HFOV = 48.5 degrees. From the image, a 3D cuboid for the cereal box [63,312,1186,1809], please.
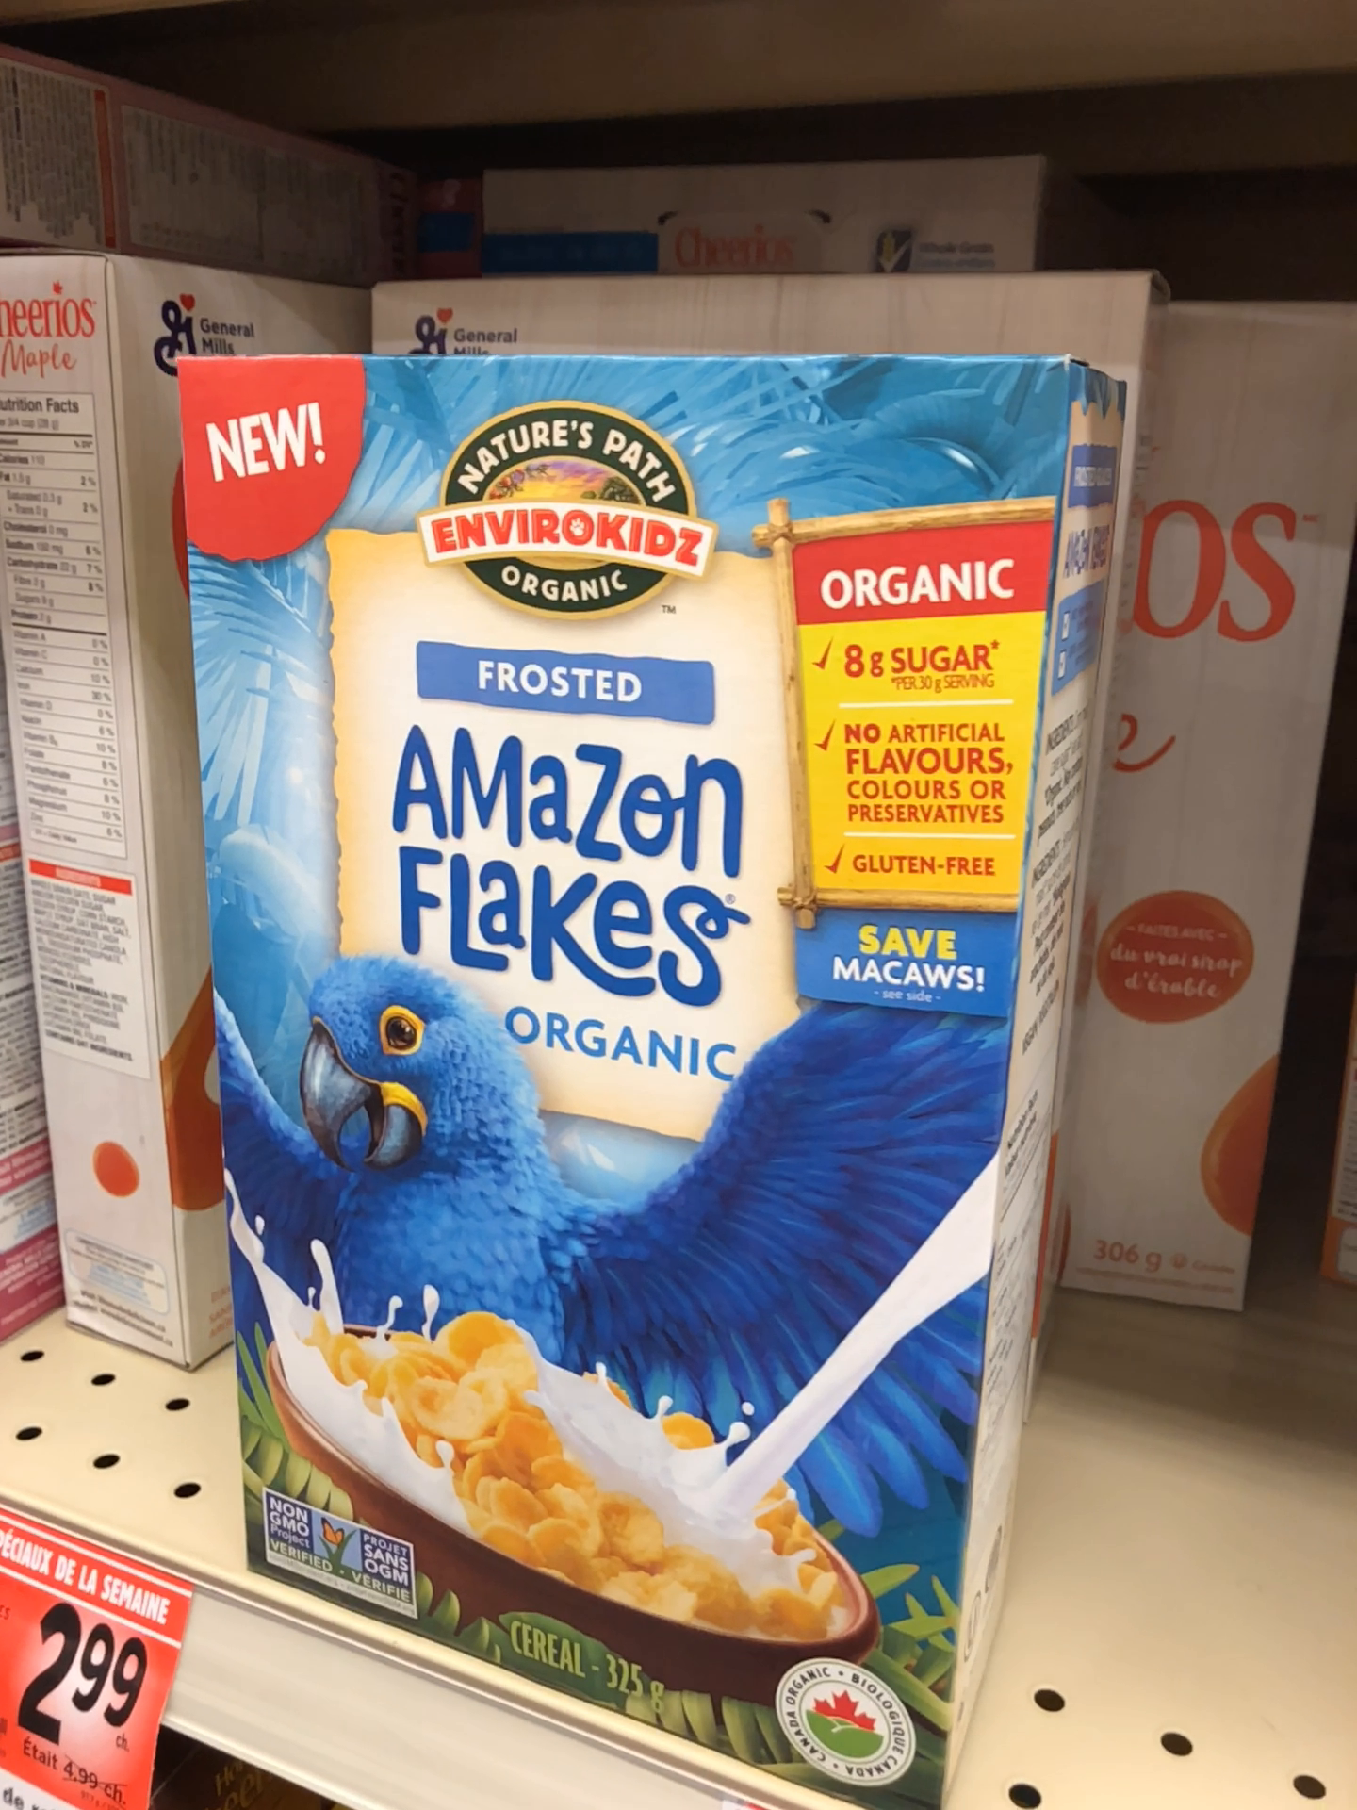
[{"bbox_3d":[-0.015,0.029,0.271,0.170,0.249,0.050,9,19,23],"label":"cereal box"}]
